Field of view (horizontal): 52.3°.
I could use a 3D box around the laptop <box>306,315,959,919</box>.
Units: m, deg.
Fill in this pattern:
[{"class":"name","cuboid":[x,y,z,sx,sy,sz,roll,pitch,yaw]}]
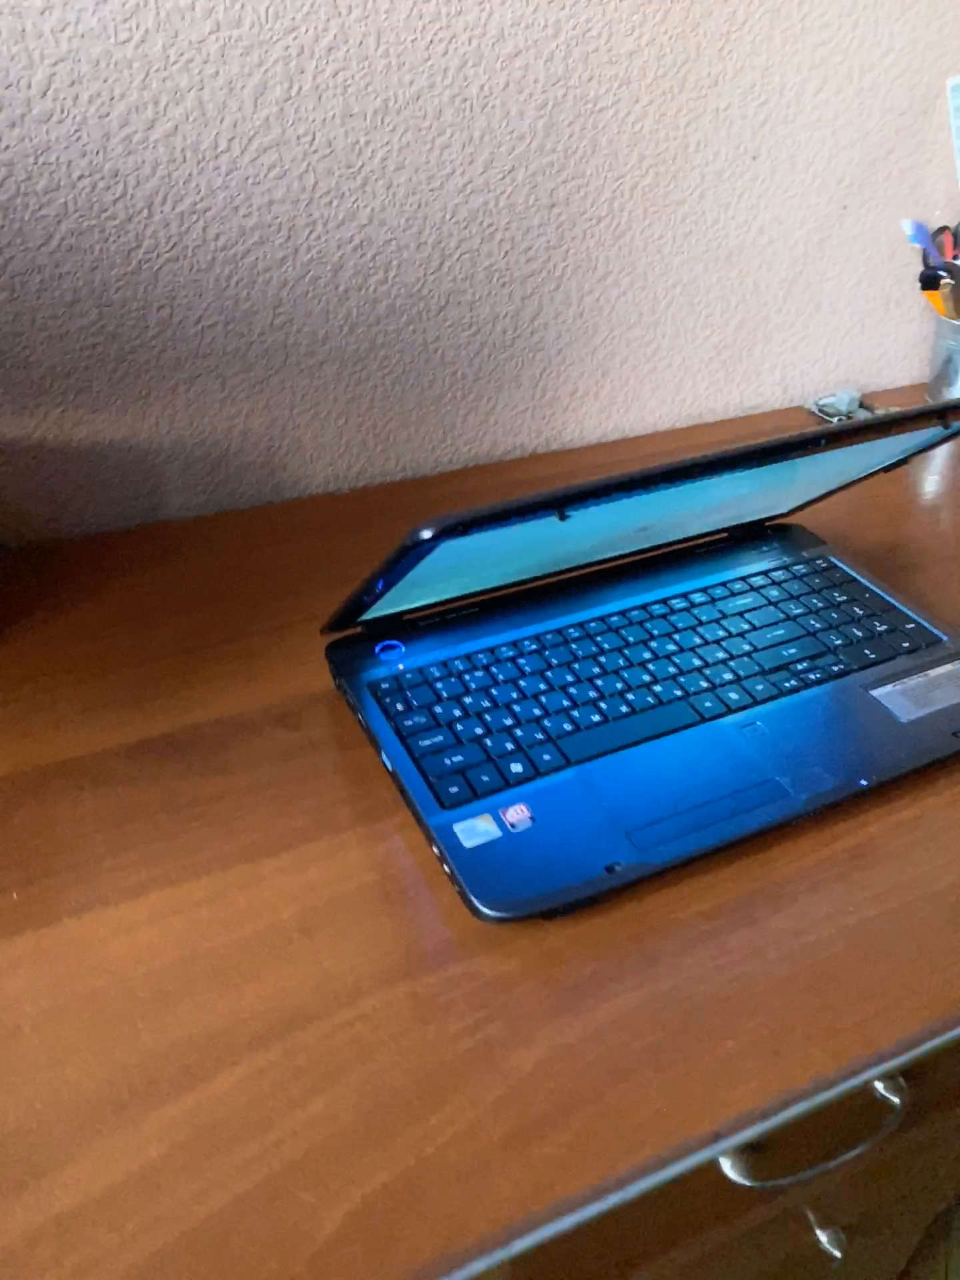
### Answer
[{"class":"laptop","cuboid":[0.125,-0.047,0.573,0.380,0.162,0.241,-16,39,-21]}]
